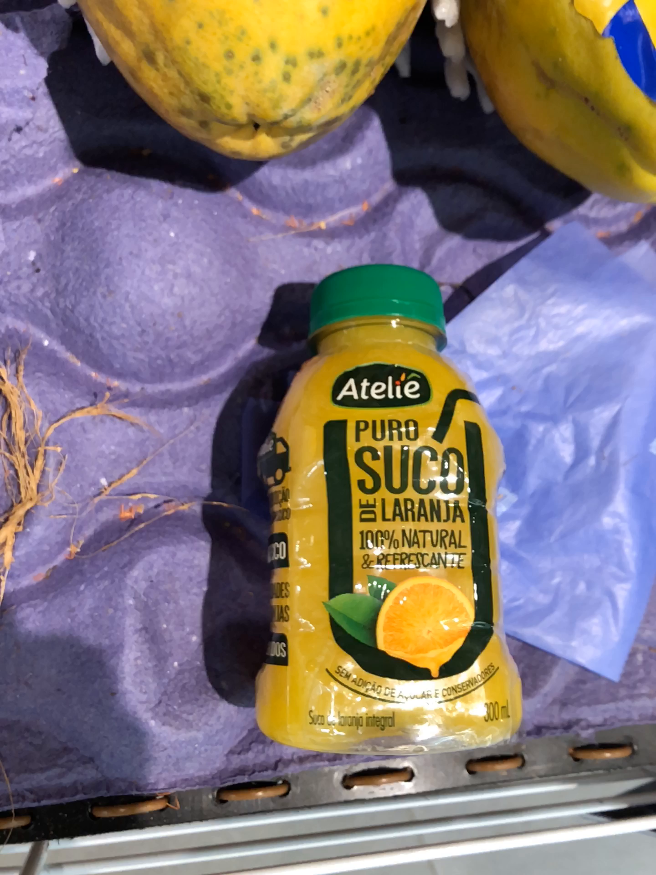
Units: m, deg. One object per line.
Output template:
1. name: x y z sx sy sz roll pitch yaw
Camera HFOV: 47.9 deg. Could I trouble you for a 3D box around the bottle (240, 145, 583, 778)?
1. bottle: 0.016 0.005 0.199 0.070 0.060 0.140 -1 84 -11
